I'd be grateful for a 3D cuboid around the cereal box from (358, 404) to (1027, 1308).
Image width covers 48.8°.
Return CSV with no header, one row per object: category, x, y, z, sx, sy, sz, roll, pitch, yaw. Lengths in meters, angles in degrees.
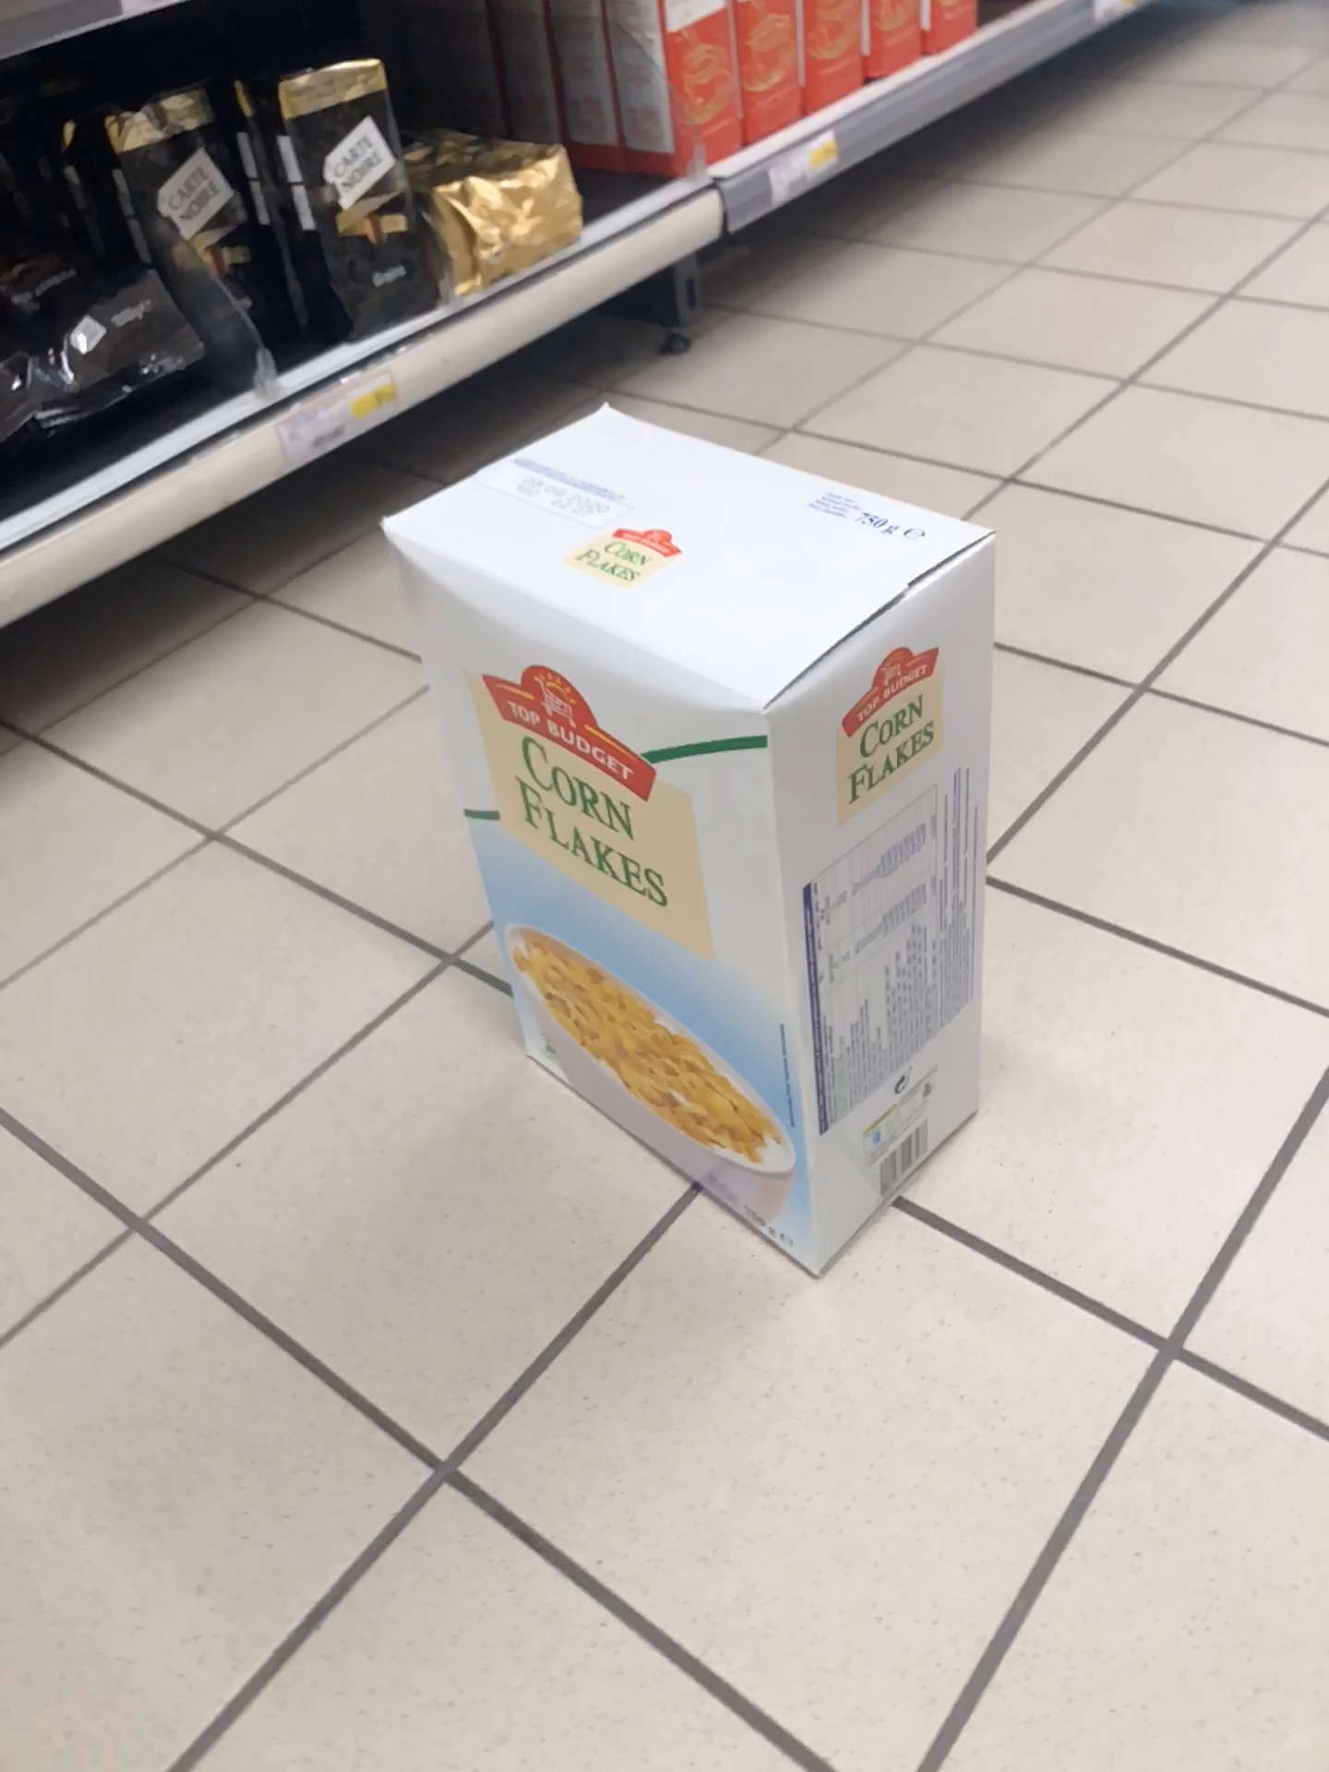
cereal box,0.020,-0.011,0.585,0.121,0.288,0.200,-36,47,-29
